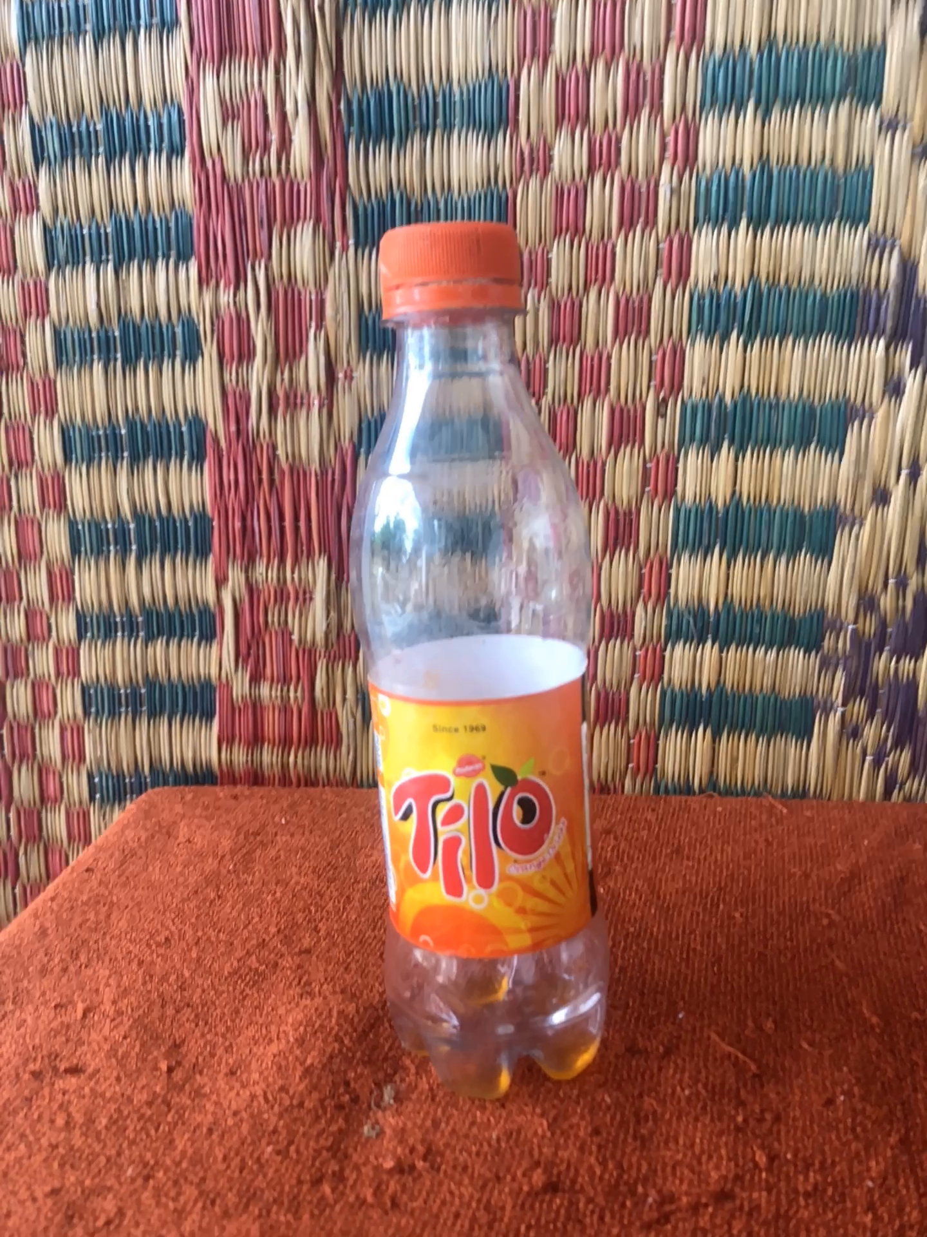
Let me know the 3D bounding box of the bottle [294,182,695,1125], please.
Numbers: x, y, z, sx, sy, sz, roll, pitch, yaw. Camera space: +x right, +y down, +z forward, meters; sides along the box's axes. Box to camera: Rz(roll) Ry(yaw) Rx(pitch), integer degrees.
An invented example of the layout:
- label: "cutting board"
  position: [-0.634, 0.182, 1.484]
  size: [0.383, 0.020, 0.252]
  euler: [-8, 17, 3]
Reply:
- label: "bottle"
  position: [0.013, 0.011, 0.227]
  size: [0.070, 0.189, 0.050]
  euler: [1, 17, 13]
